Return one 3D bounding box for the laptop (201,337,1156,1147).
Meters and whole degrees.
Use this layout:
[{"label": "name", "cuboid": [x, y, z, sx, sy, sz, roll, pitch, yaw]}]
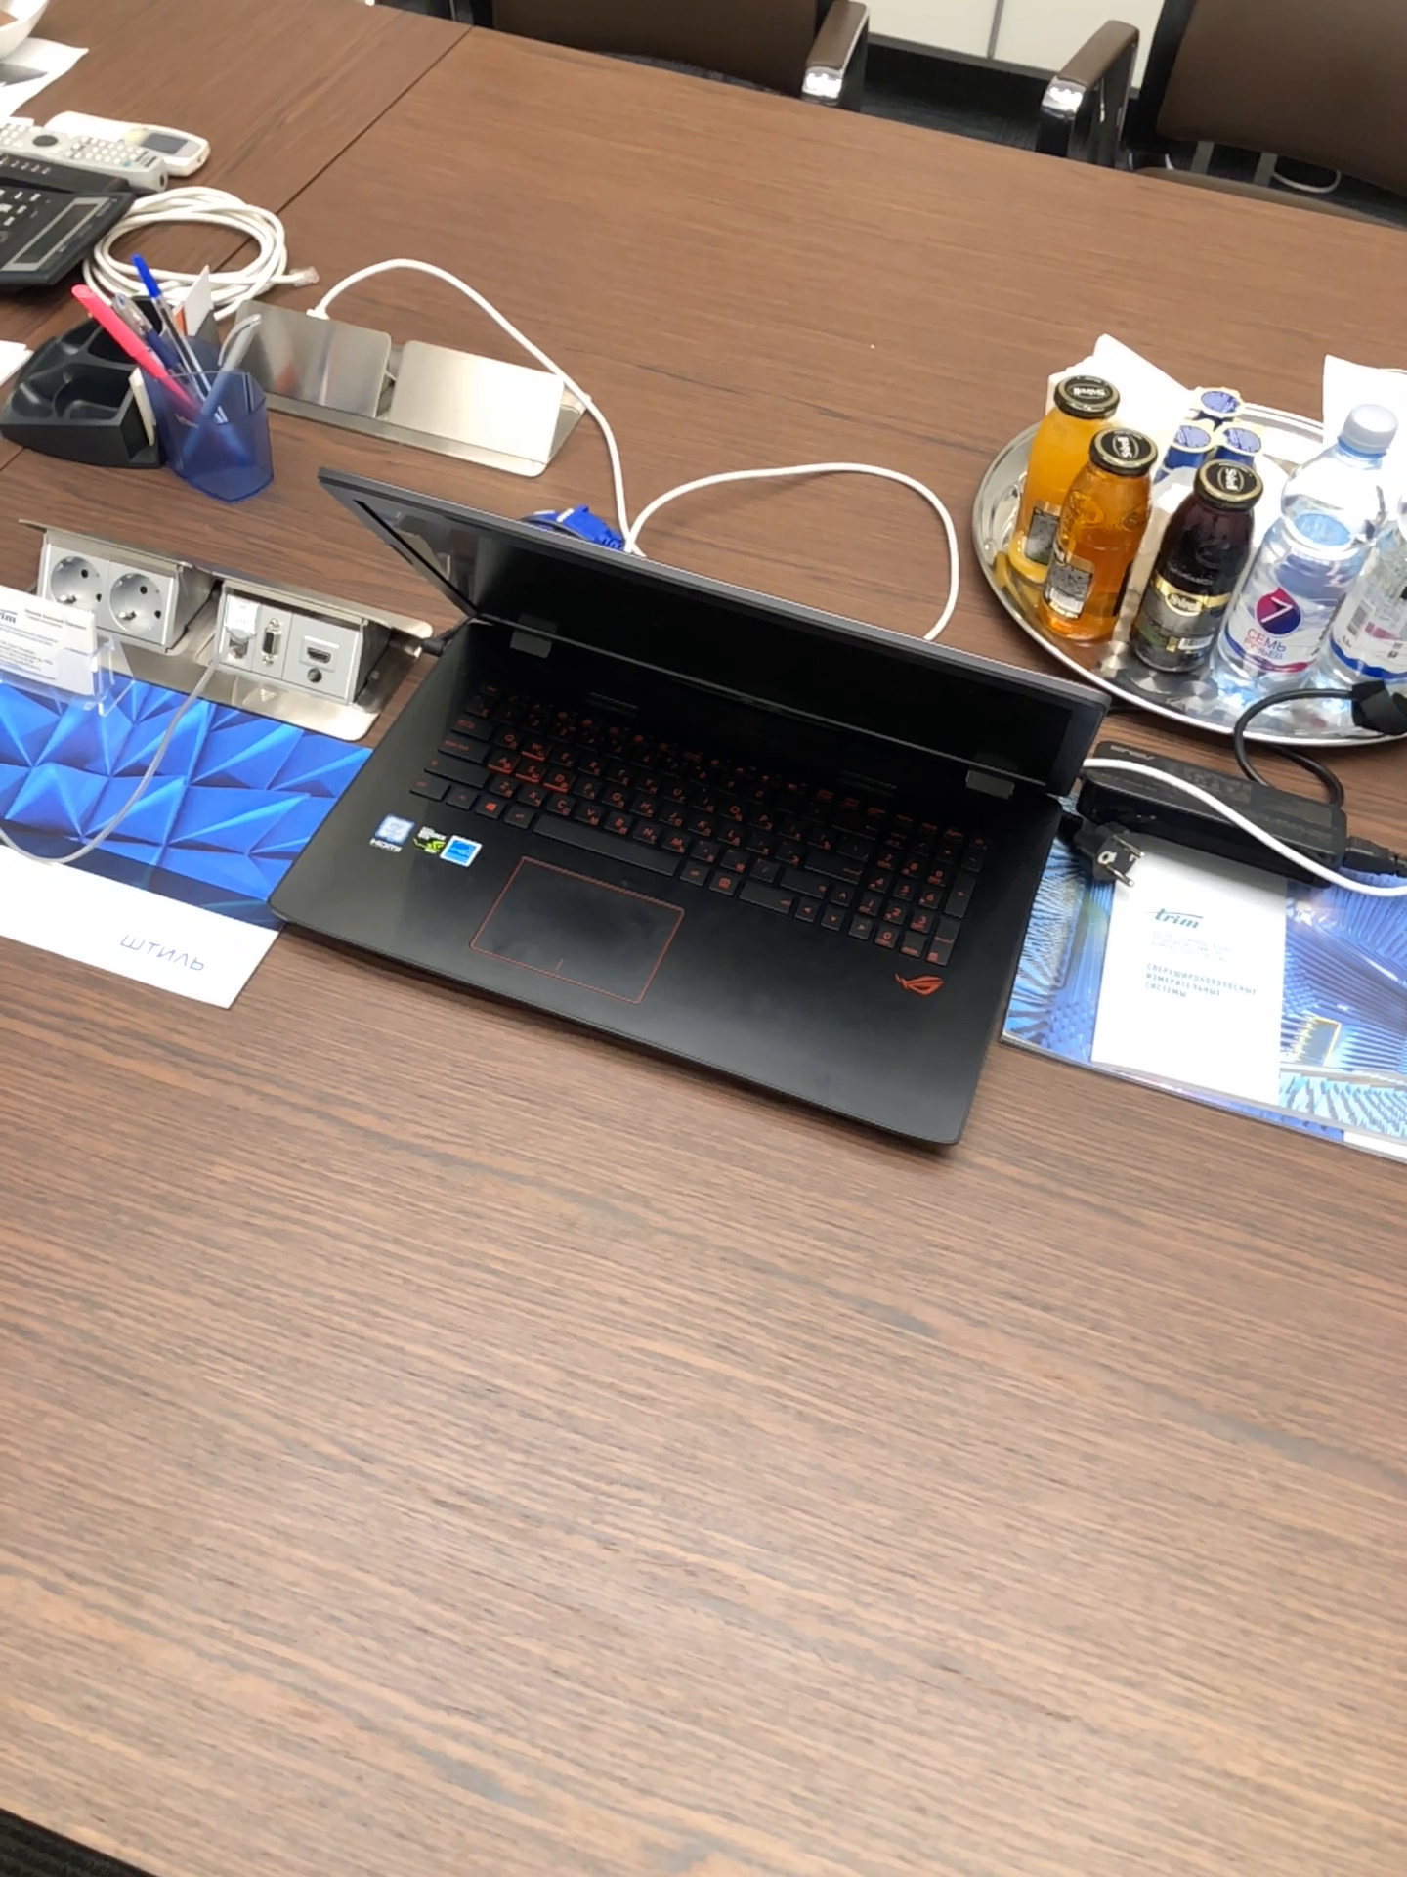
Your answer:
[{"label": "laptop", "cuboid": [-0.007, -0.105, 0.778, 0.376, 0.189, 0.238, 18, 55, 10]}]
